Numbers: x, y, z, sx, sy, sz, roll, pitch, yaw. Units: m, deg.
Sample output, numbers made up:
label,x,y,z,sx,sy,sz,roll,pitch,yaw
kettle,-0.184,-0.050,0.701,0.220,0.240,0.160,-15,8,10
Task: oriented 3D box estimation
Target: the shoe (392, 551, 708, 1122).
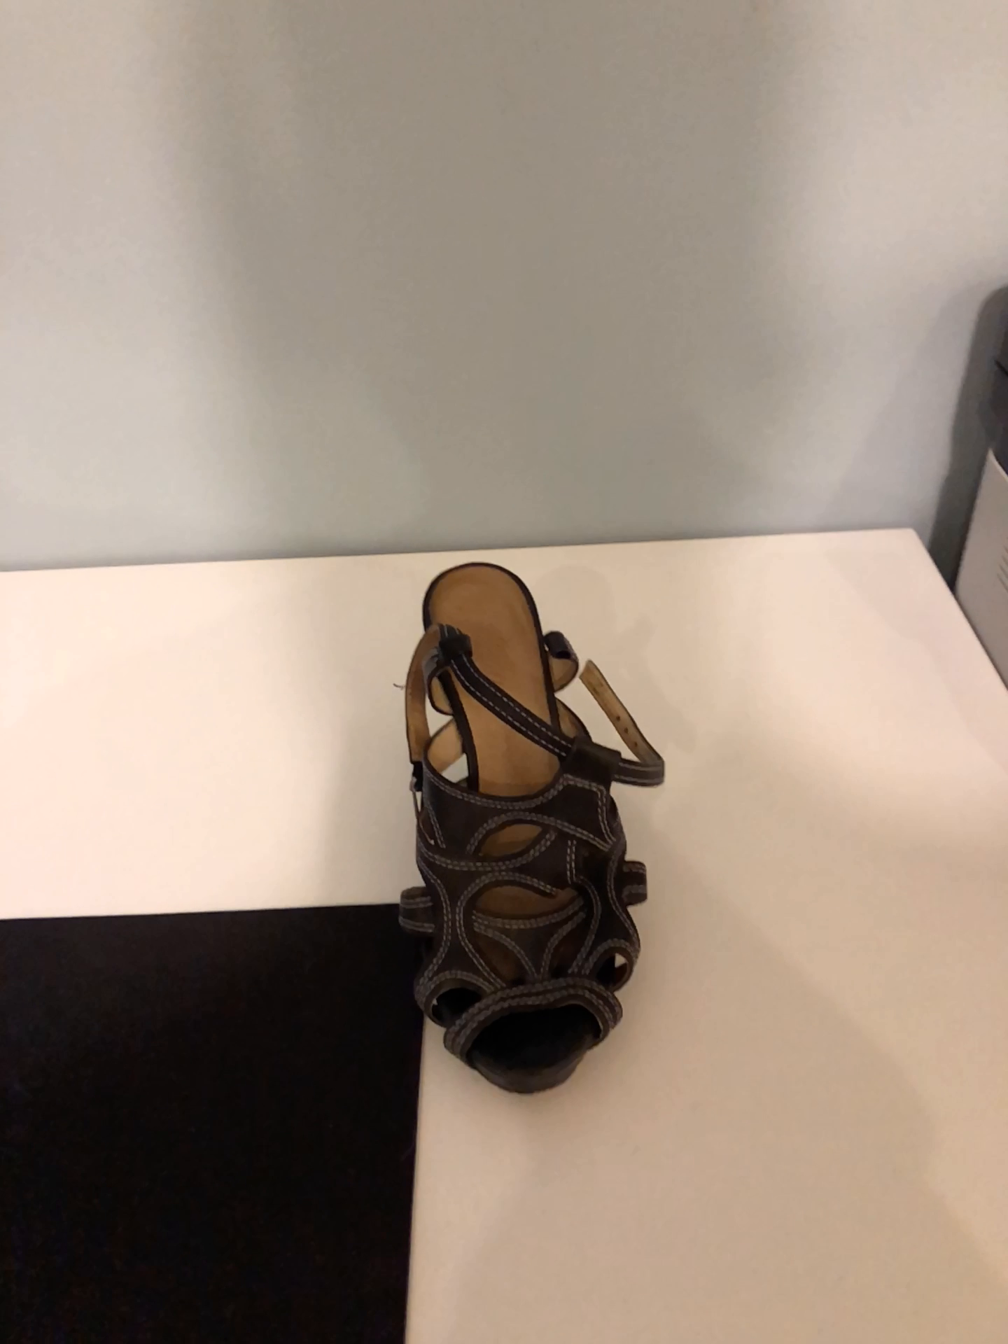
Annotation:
label,x,y,z,sx,sy,sz,roll,pitch,yaw
shoe,0.009,0.055,0.466,0.100,0.099,0.222,-4,39,-2
